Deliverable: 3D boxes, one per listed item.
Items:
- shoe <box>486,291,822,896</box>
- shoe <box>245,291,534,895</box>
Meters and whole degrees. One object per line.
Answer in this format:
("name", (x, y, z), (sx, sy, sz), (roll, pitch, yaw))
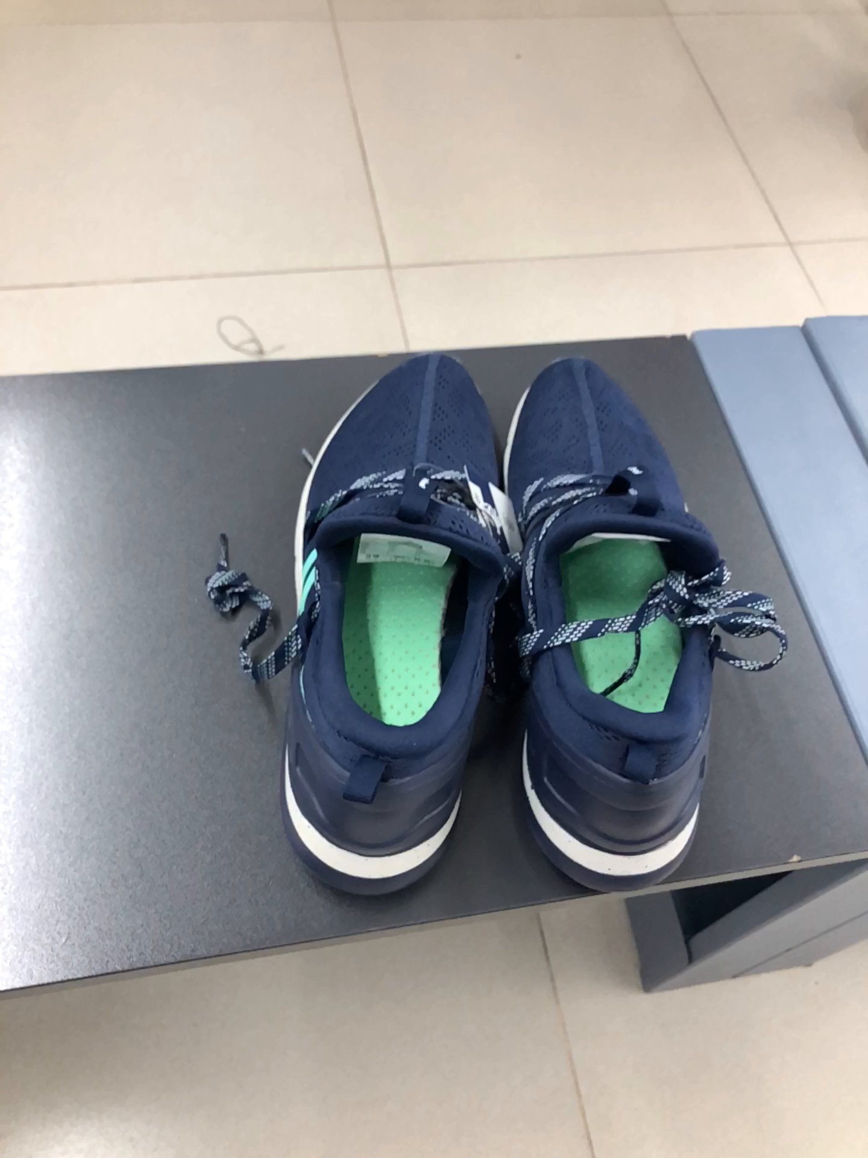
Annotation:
("shoe", (0.083, 0.003, 0.449), (0.100, 0.119, 0.251), (4, 58, -4))
("shoe", (-0.018, 0.003, 0.450), (0.100, 0.119, 0.251), (4, 58, -4))
